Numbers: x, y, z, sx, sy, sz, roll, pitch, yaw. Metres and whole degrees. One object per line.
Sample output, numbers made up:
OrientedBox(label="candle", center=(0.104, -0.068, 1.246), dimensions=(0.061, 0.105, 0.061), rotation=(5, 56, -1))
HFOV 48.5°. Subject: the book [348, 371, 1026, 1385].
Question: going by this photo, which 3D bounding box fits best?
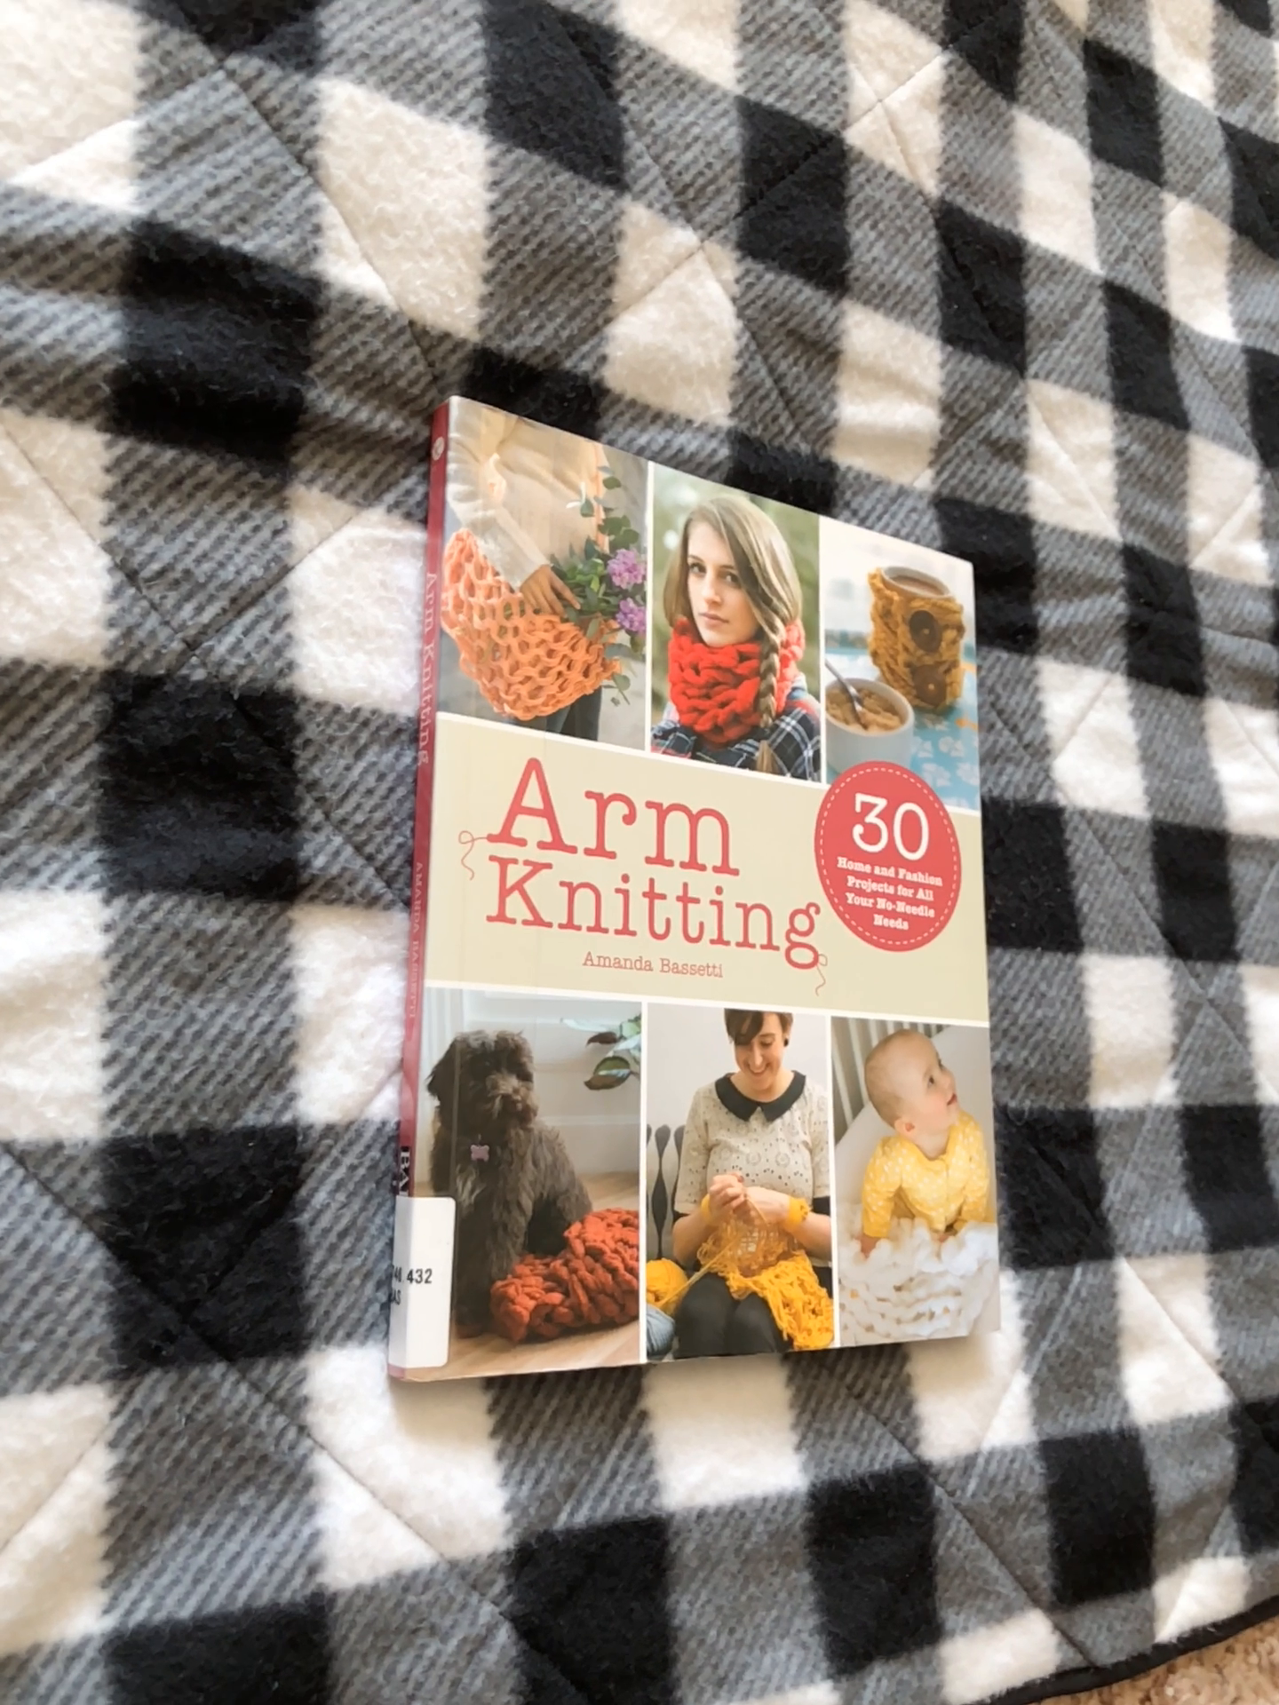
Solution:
OrientedBox(label="book", center=(0.025, 0.011, 0.387), dimensions=(0.197, 0.020, 0.238), rotation=(8, 76, -32))
